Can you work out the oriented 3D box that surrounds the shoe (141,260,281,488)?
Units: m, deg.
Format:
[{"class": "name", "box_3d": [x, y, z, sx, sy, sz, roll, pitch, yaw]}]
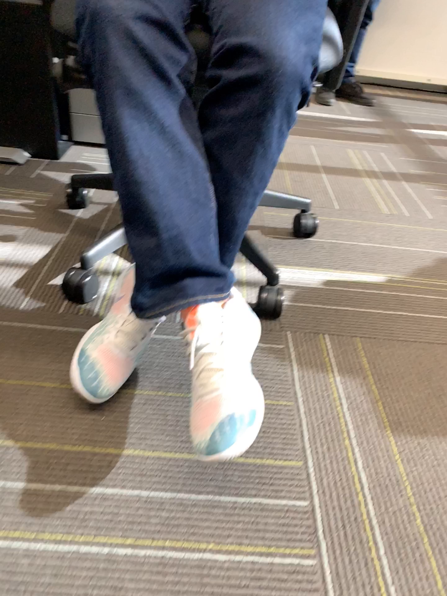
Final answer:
[{"class": "shoe", "box_3d": [-0.002, 0.091, 0.620, 0.113, 0.108, 0.267, 40, 35, -24]}]

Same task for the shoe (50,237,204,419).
[{"class": "shoe", "box_3d": [-0.144, 0.034, 0.758, 0.115, 0.108, 0.287, 35, 35, -10]}]
